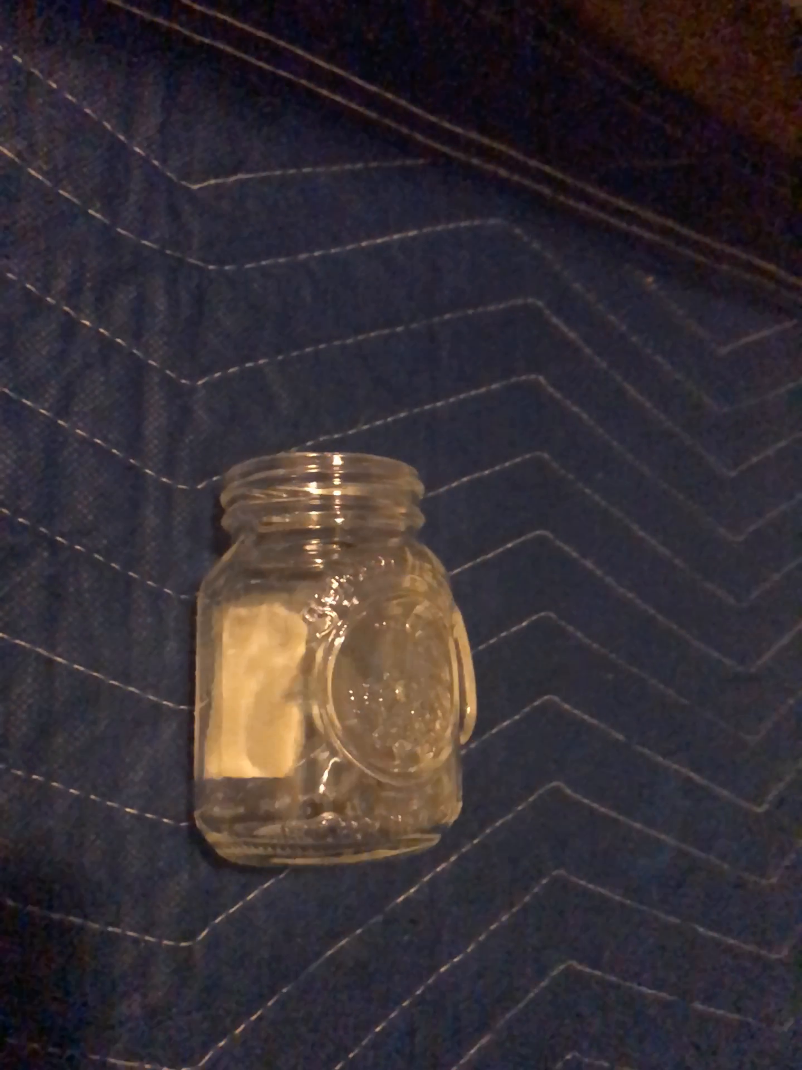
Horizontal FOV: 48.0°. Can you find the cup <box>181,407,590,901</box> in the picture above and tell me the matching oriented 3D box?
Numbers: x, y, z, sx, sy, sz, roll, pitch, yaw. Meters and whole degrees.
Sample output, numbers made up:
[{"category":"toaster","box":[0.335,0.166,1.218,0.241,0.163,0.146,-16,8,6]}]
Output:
[{"category":"cup","box":[-0.002,0.025,0.218,0.089,0.043,0.095,4,83,-35]}]
